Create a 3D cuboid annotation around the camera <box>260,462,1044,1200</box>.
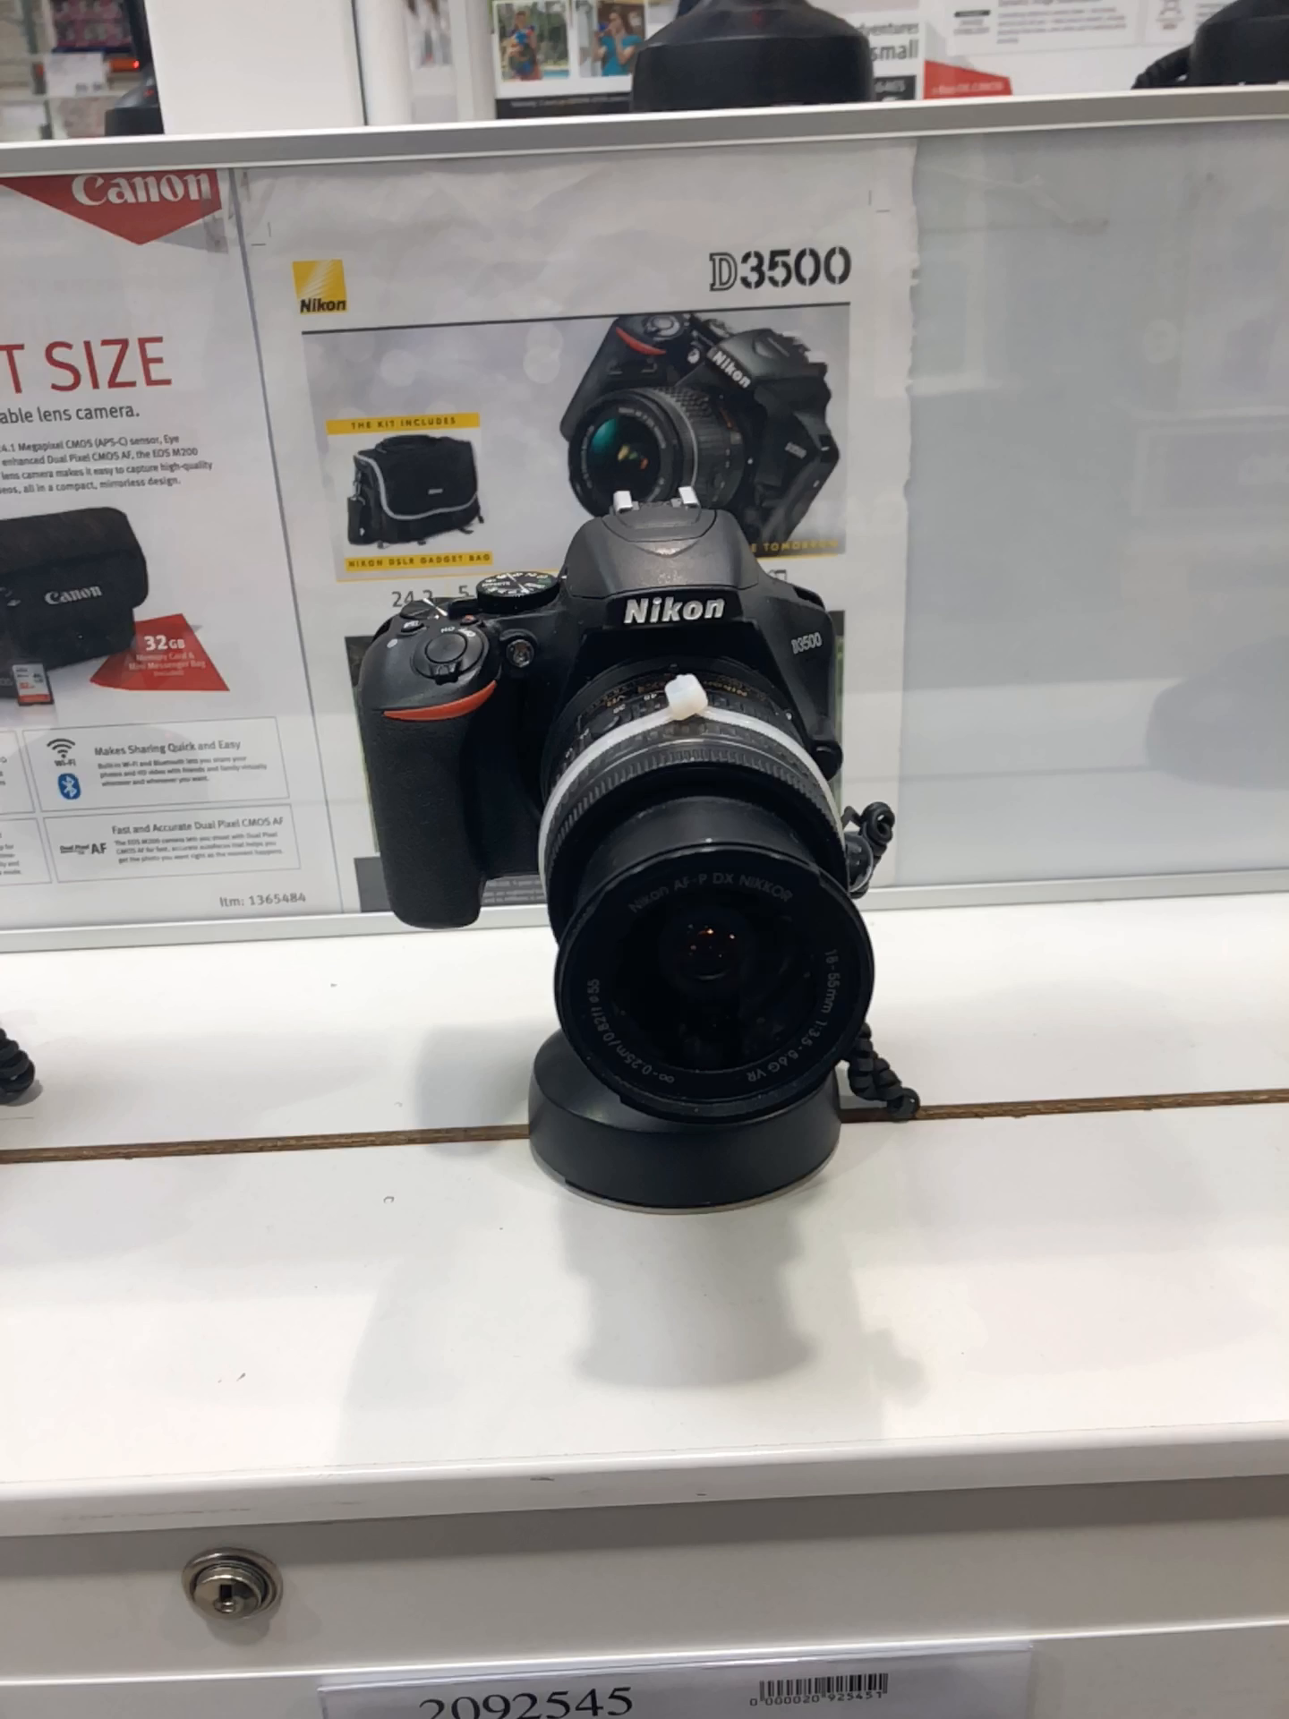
[{"bbox_3d":[-0.003,-0.025,0.363,0.140,0.110,0.191,-4,25,-3],"label":"camera"}]
